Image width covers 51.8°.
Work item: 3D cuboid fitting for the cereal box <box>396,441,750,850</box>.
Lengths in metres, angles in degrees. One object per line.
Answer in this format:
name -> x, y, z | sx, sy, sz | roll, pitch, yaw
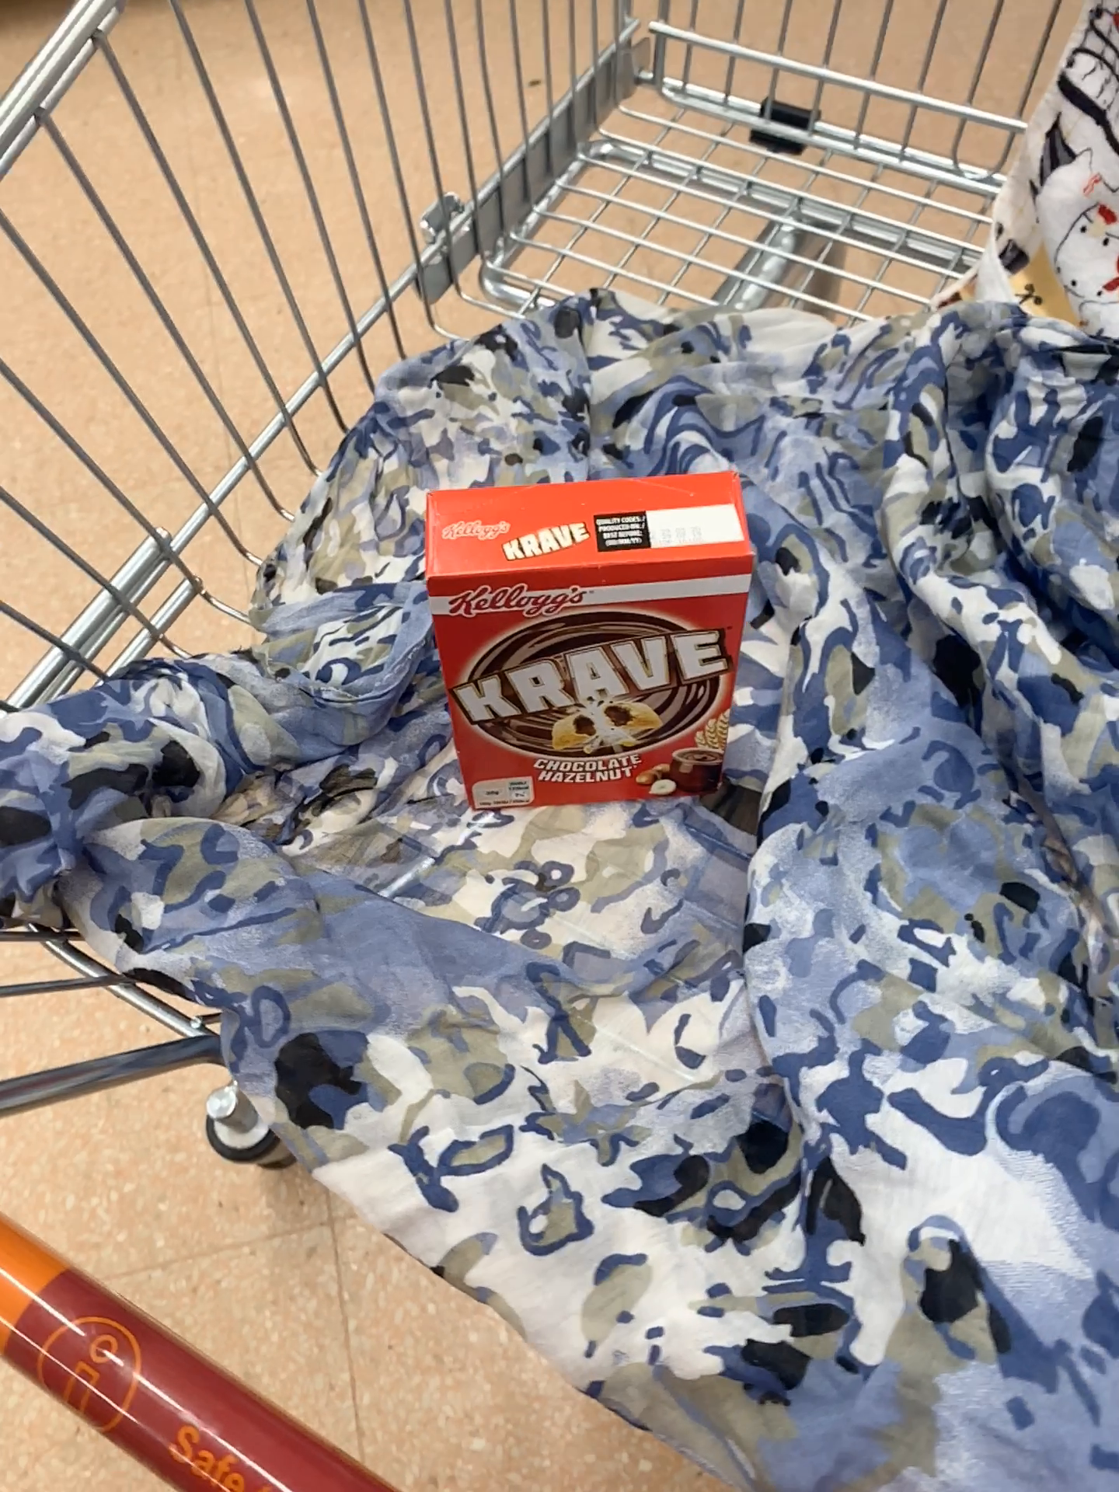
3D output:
cereal box -> 0.003, -0.023, 0.365 | 0.090, 0.149, 0.040 | -4, 57, -1
